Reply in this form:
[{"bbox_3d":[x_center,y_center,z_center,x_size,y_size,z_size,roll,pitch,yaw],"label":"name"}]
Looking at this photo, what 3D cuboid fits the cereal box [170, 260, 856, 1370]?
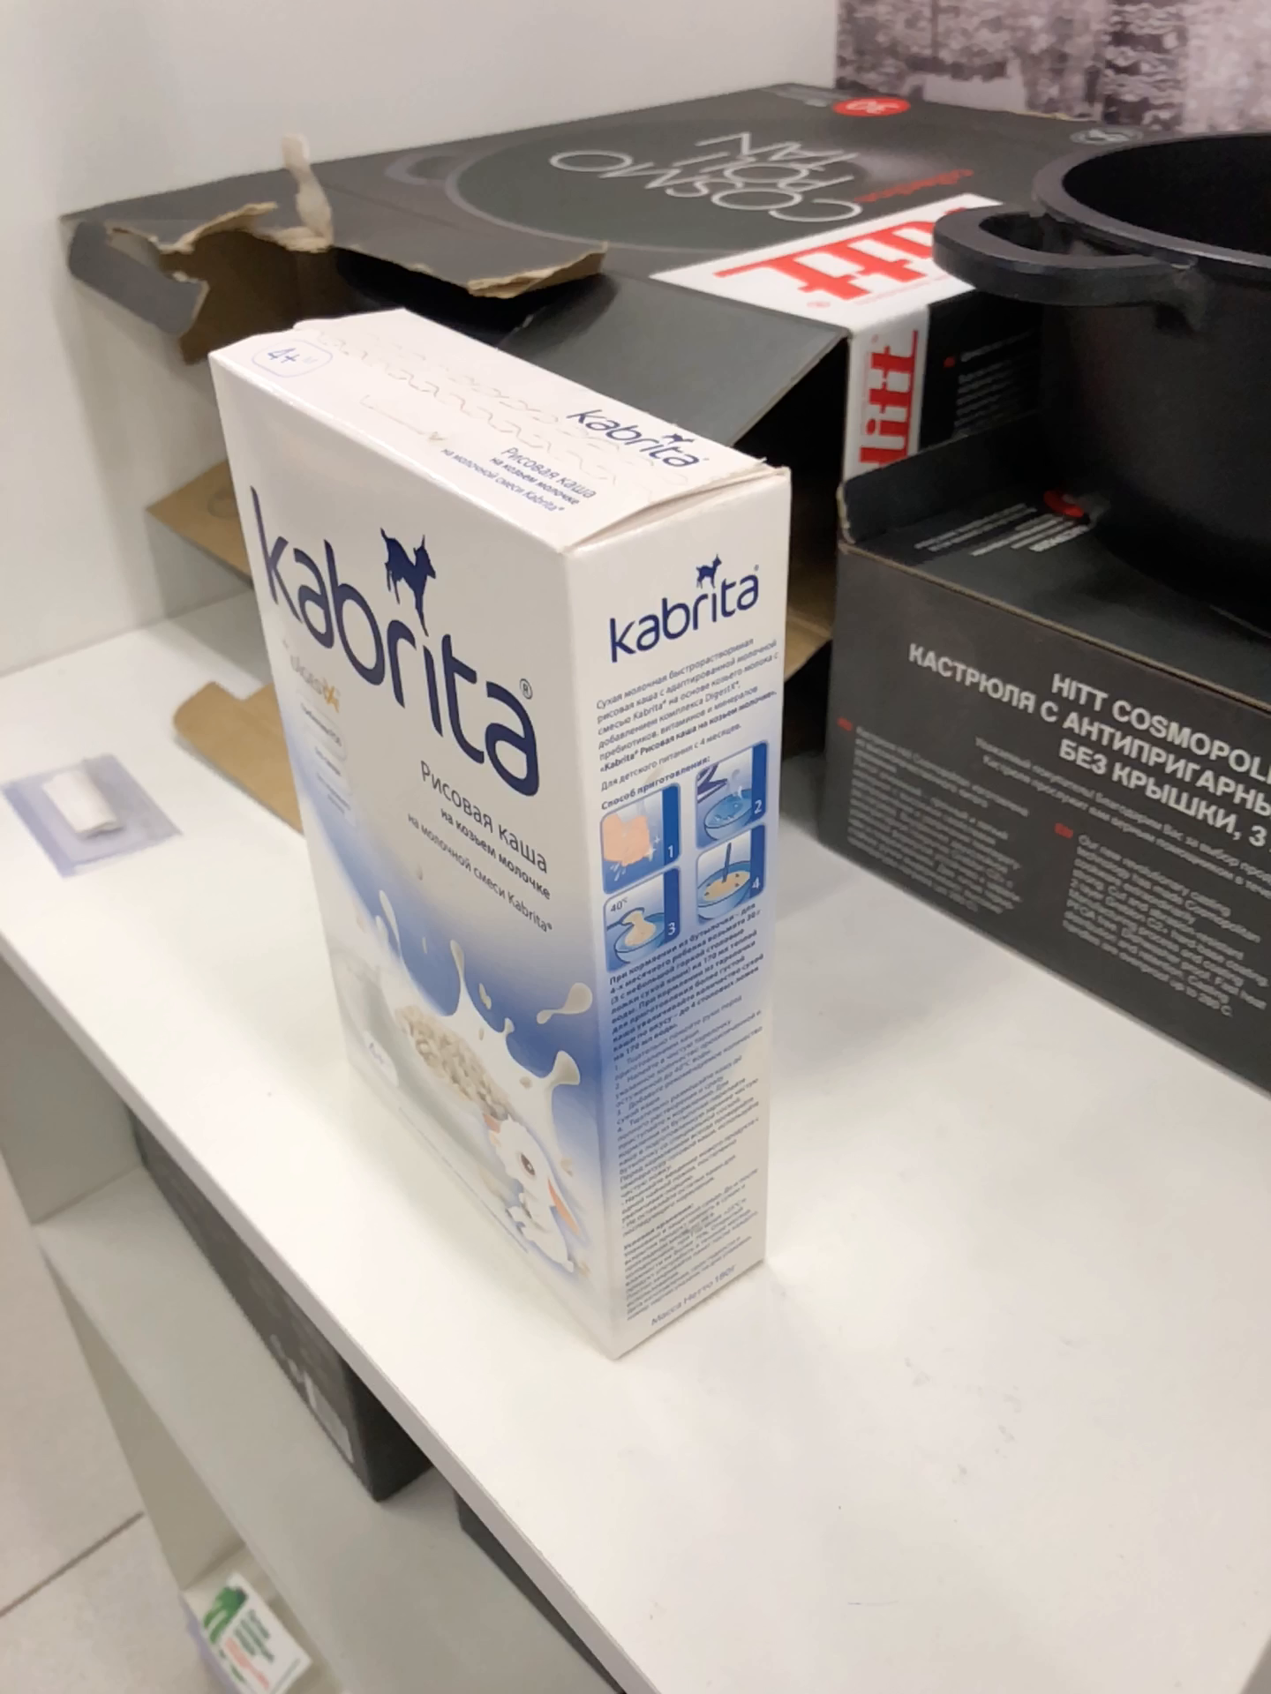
[{"bbox_3d":[-0.028,-0.007,0.325,0.060,0.209,0.141,-26,42,-29],"label":"cereal box"}]
